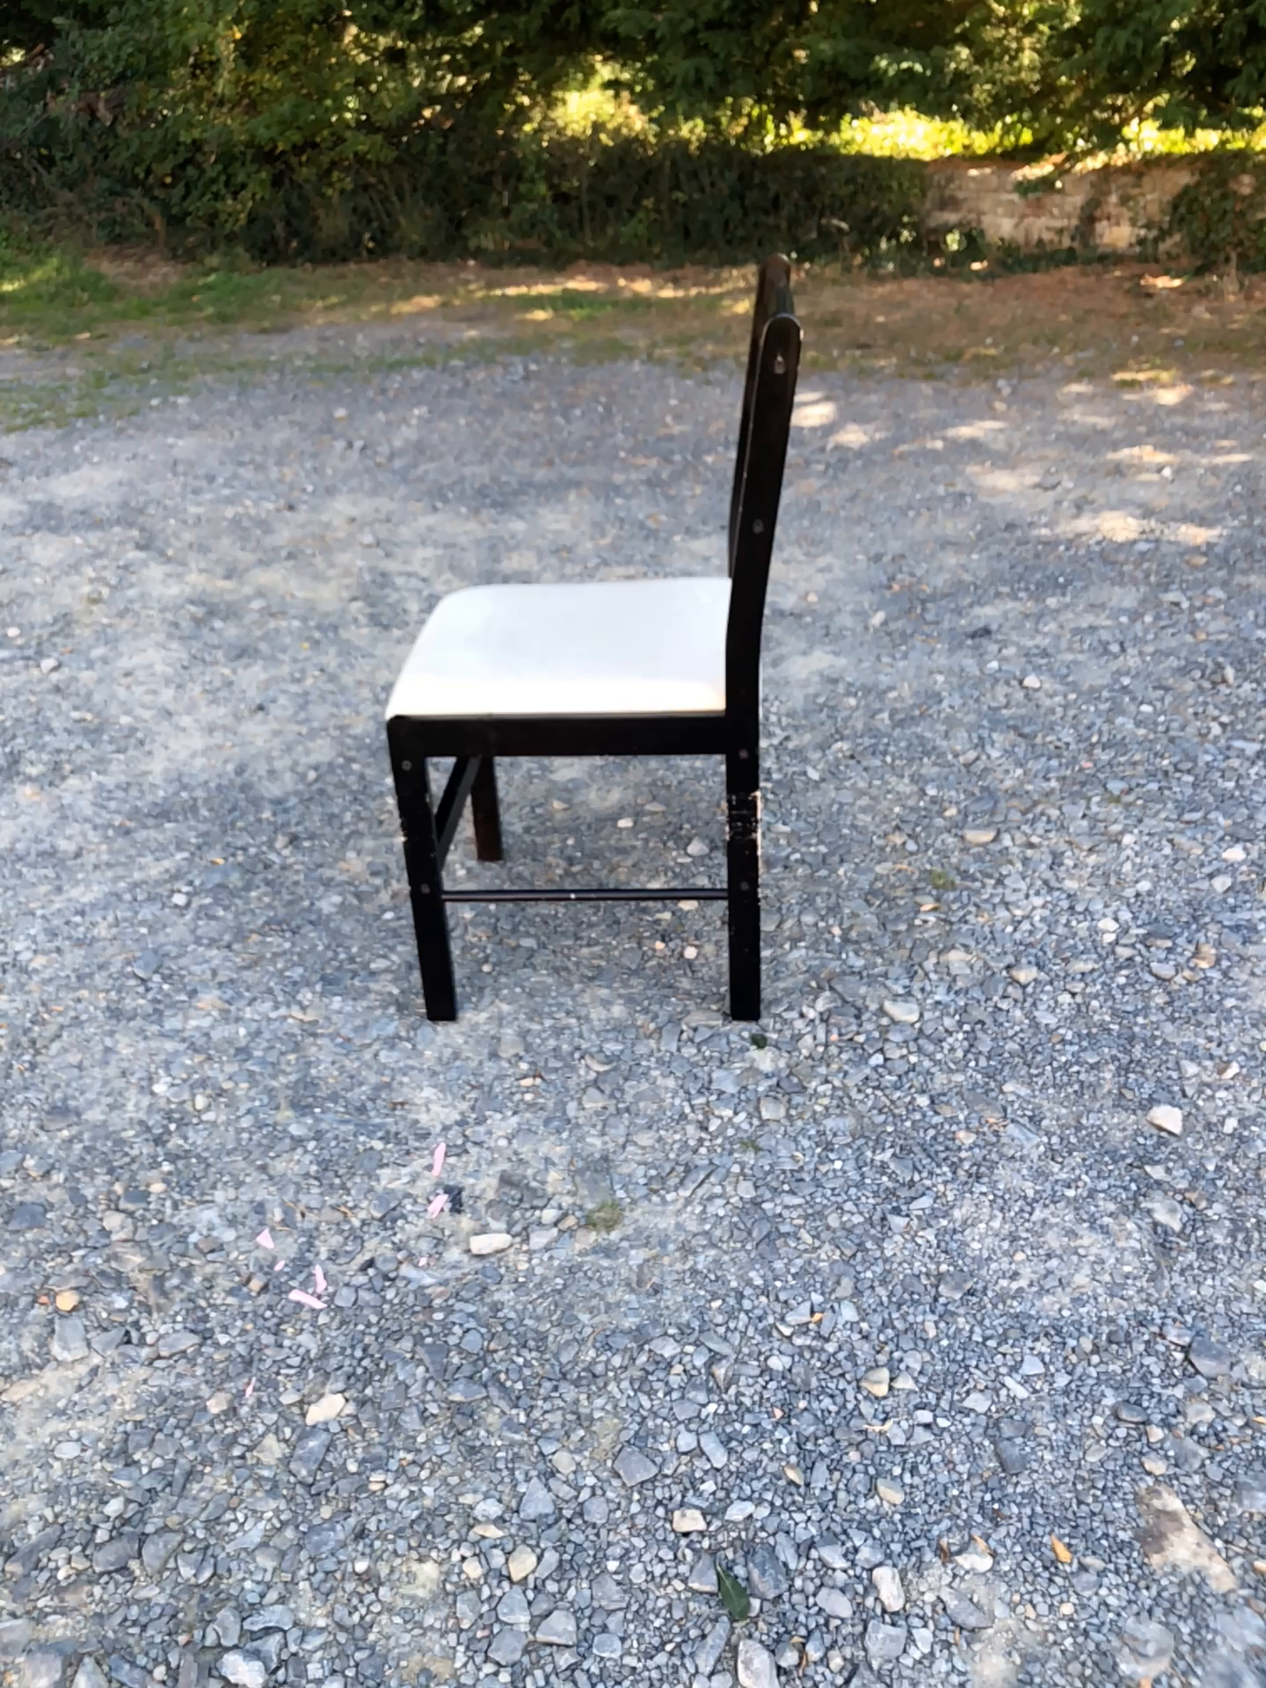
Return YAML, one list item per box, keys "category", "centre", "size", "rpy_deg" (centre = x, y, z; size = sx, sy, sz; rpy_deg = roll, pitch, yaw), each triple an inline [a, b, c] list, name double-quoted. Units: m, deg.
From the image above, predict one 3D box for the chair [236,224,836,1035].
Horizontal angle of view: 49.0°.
- category: "chair"
  centre: [-0.056, -0.258, 1.654]
  size: [0.530, 0.775, 0.543]
  rpy_deg: [-2, 32, 3]
